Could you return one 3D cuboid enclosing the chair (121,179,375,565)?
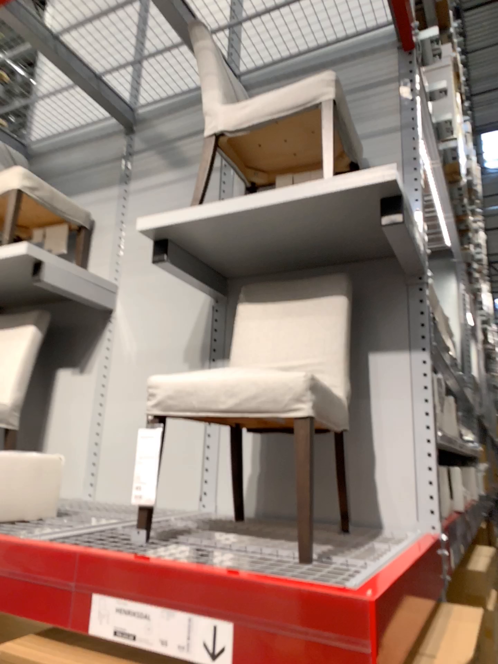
[{"bbox_3d":[0.063,0.148,1.670,0.560,0.984,0.668,-4,-16,24],"label":"chair"}]
